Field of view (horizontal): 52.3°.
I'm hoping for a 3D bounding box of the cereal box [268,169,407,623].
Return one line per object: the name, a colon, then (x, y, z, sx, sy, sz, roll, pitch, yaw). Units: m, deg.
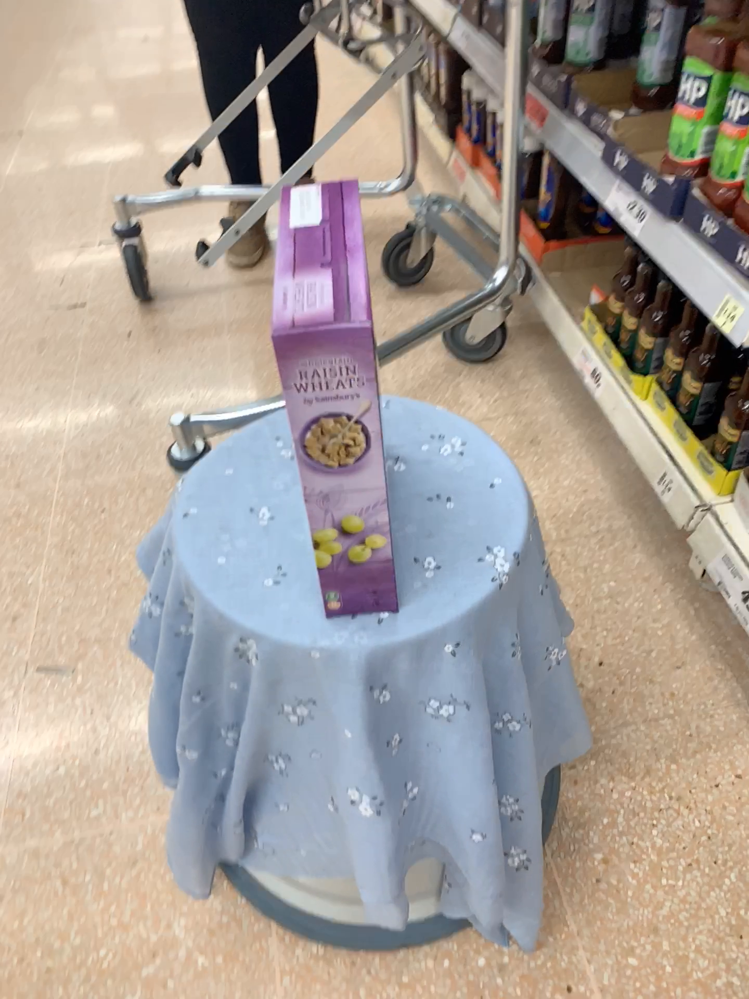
cereal box: (-0.022, -0.070, 0.536, 0.060, 0.238, 0.202, -6, 44, 0)
